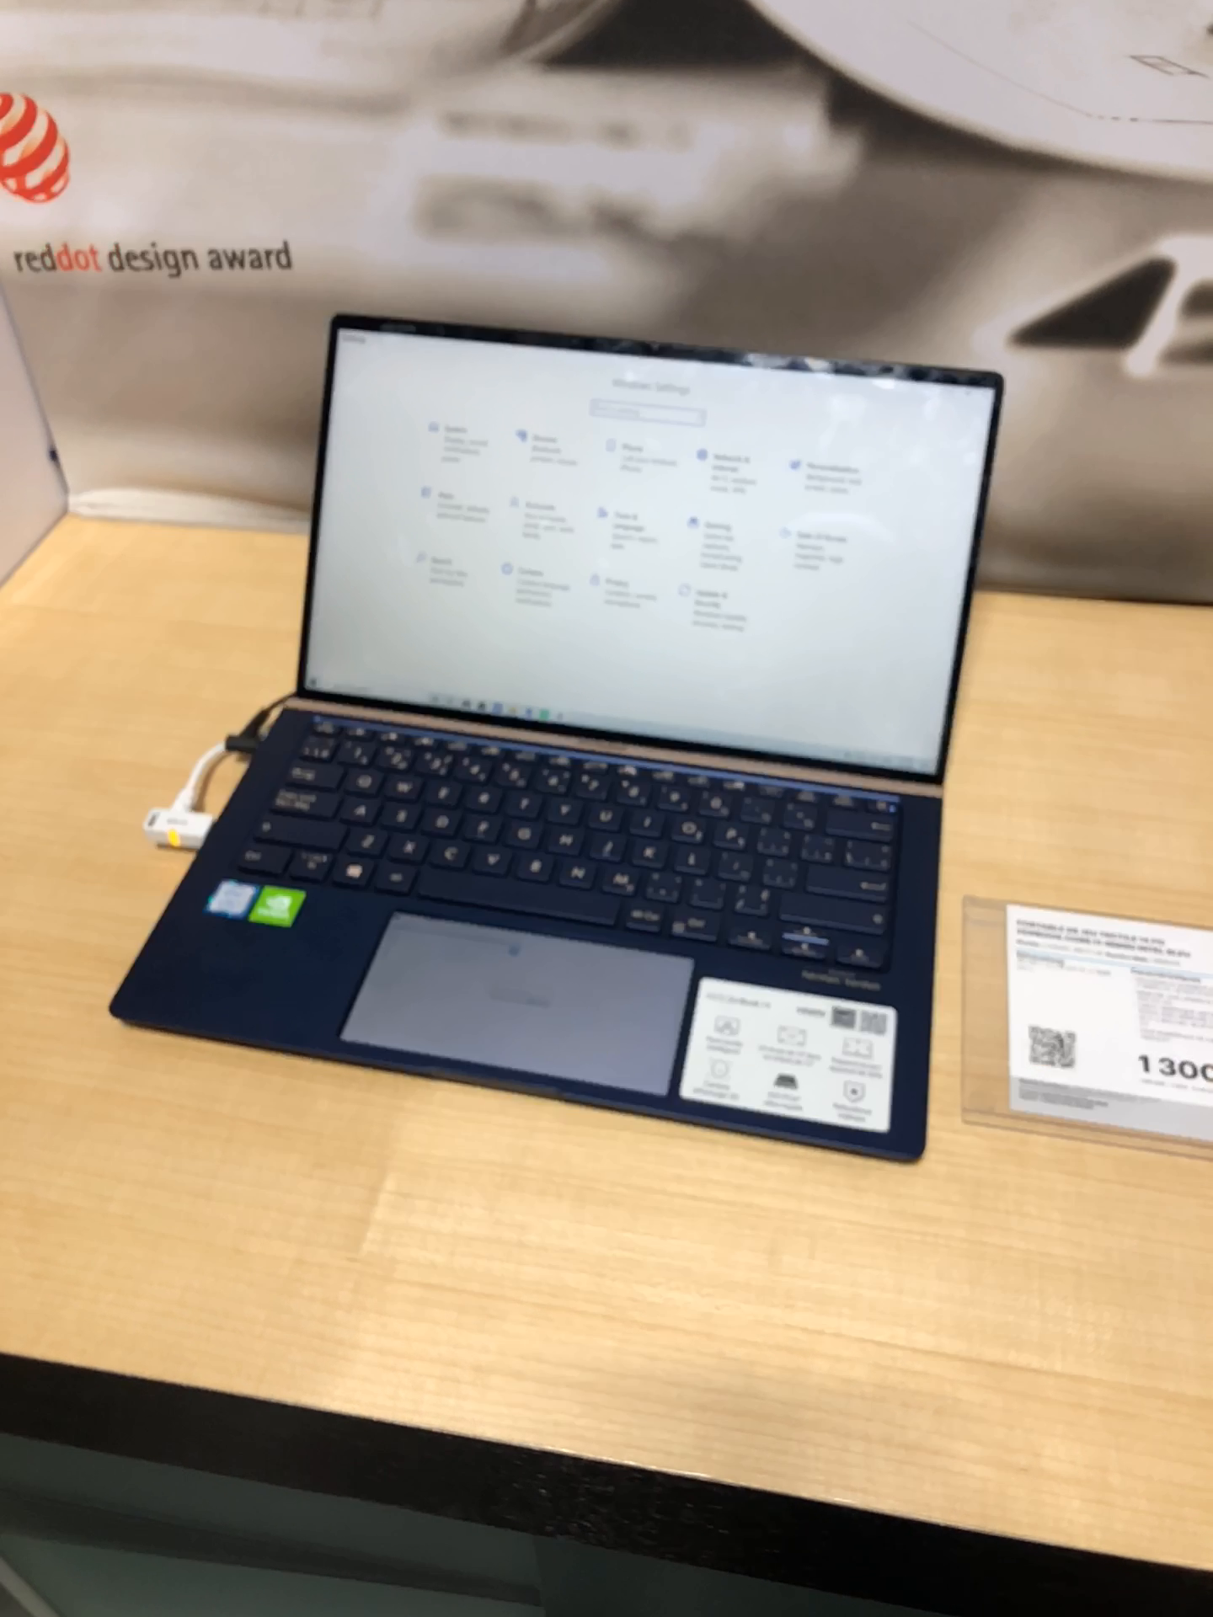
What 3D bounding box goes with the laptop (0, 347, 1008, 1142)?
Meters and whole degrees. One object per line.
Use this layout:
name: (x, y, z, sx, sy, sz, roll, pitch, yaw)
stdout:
laptop: (-0.009, -0.054, 0.601, 0.332, 0.159, 0.322, 8, 42, 9)
